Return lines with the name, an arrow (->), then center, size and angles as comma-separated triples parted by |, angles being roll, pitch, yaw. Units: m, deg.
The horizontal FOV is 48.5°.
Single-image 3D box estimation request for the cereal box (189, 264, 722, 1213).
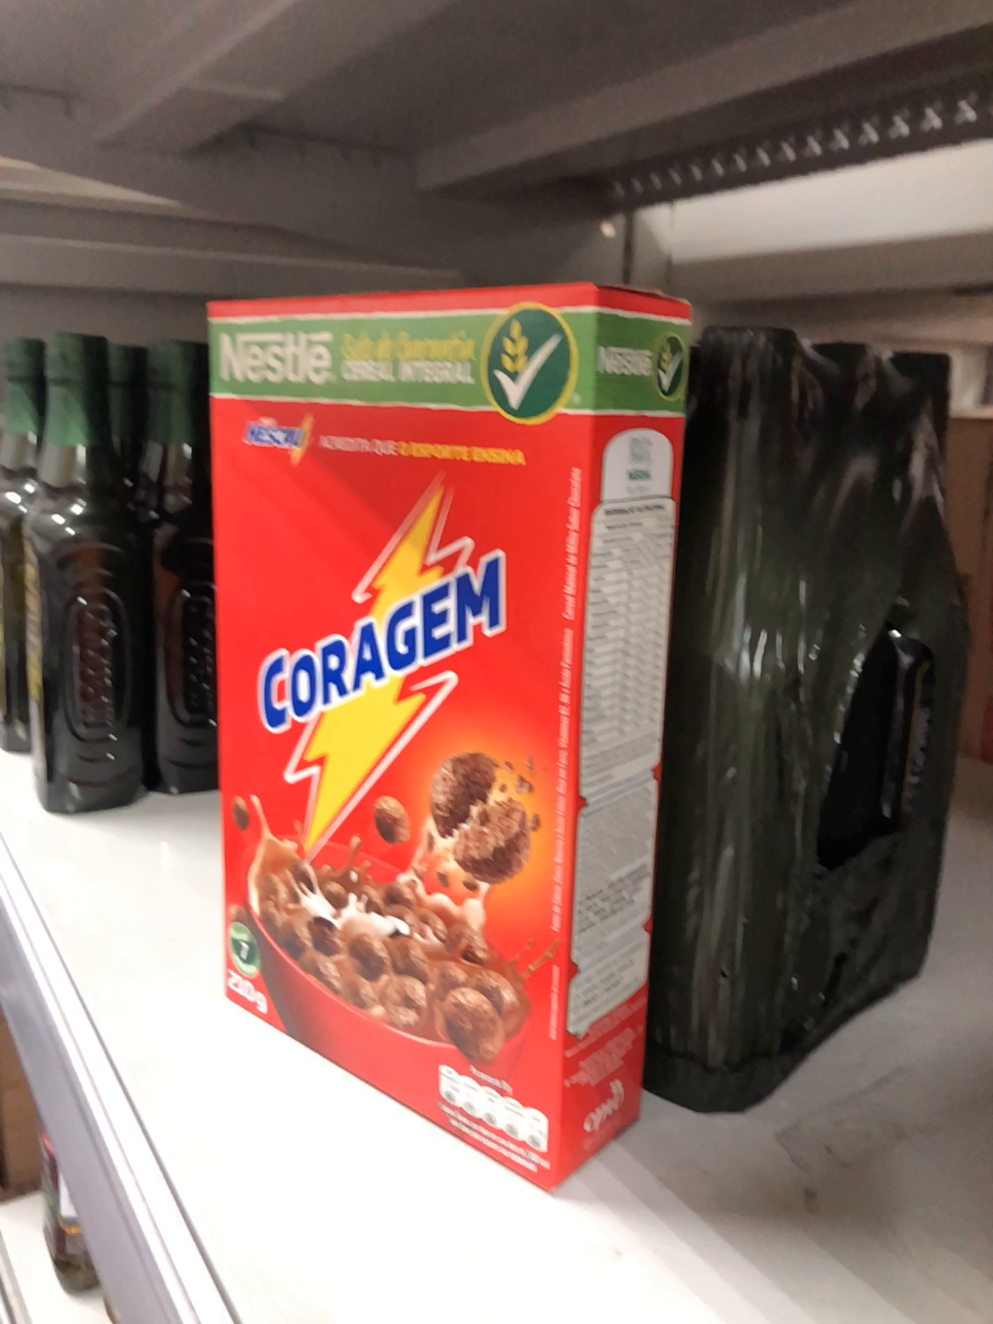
cereal box -> -0.024, 0.012, 0.359 | 0.170, 0.249, 0.060 | 12, 15, 42
